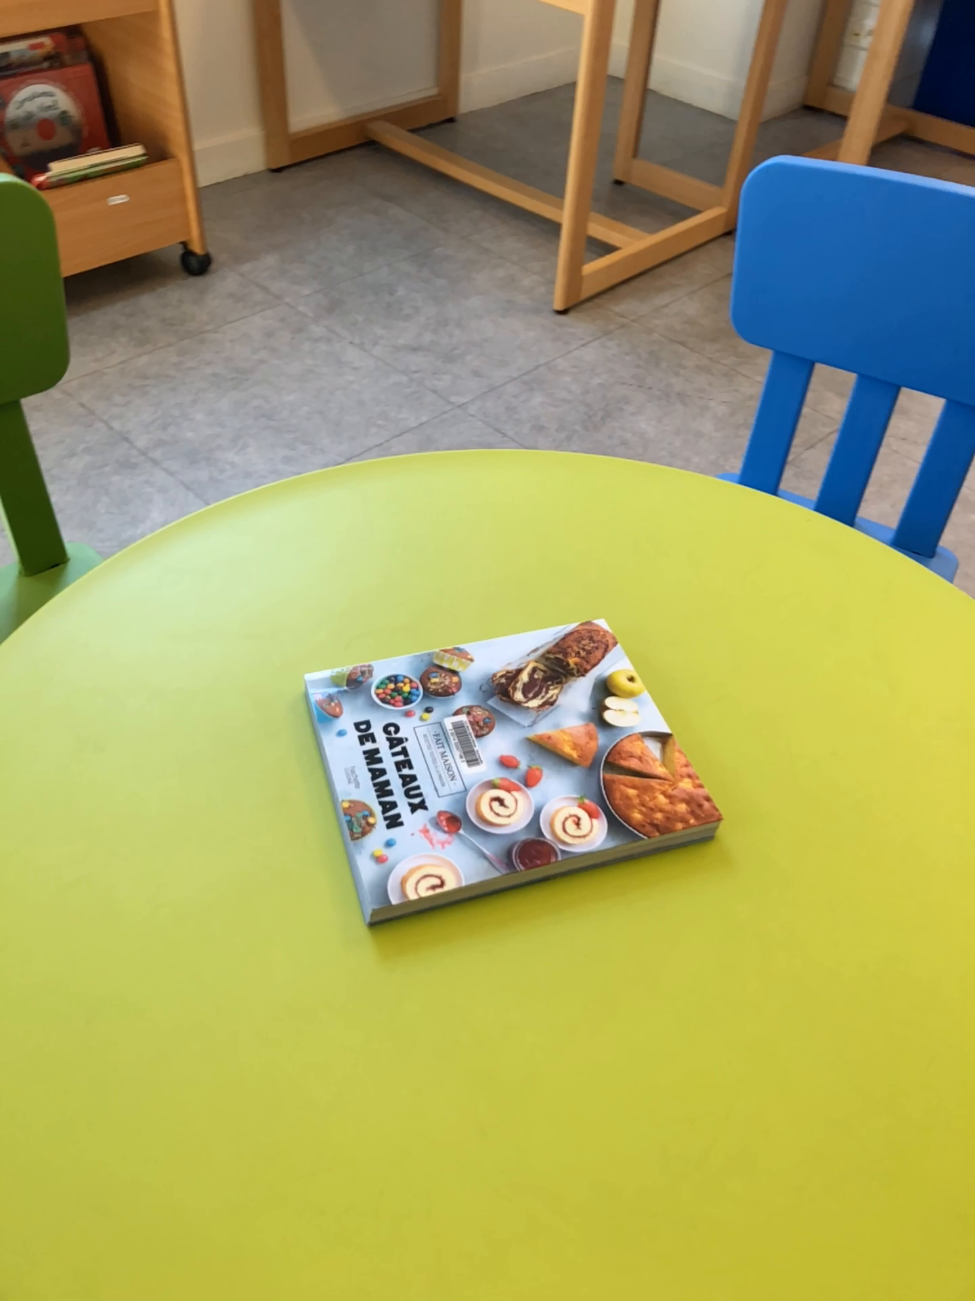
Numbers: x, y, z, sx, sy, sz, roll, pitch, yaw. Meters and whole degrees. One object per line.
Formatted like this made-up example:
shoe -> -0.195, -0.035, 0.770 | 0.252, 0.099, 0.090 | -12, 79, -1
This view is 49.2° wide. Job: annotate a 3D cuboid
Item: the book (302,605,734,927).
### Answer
book -> 0.012, 0.062, 0.702 | 0.229, 0.021, 0.201 | -11, 46, -16
